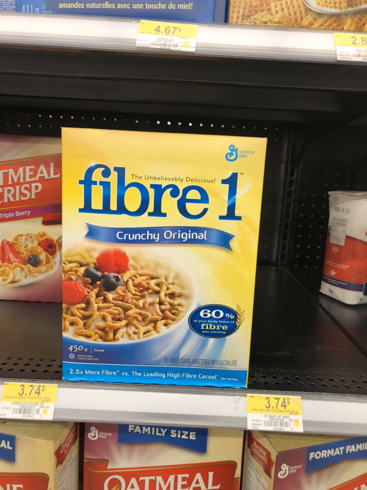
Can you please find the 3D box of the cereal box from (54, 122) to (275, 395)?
[{"bbox_3d":[-0.024,0.015,0.419,0.200,0.259,0.060,3,11,0],"label":"cereal box"}]
